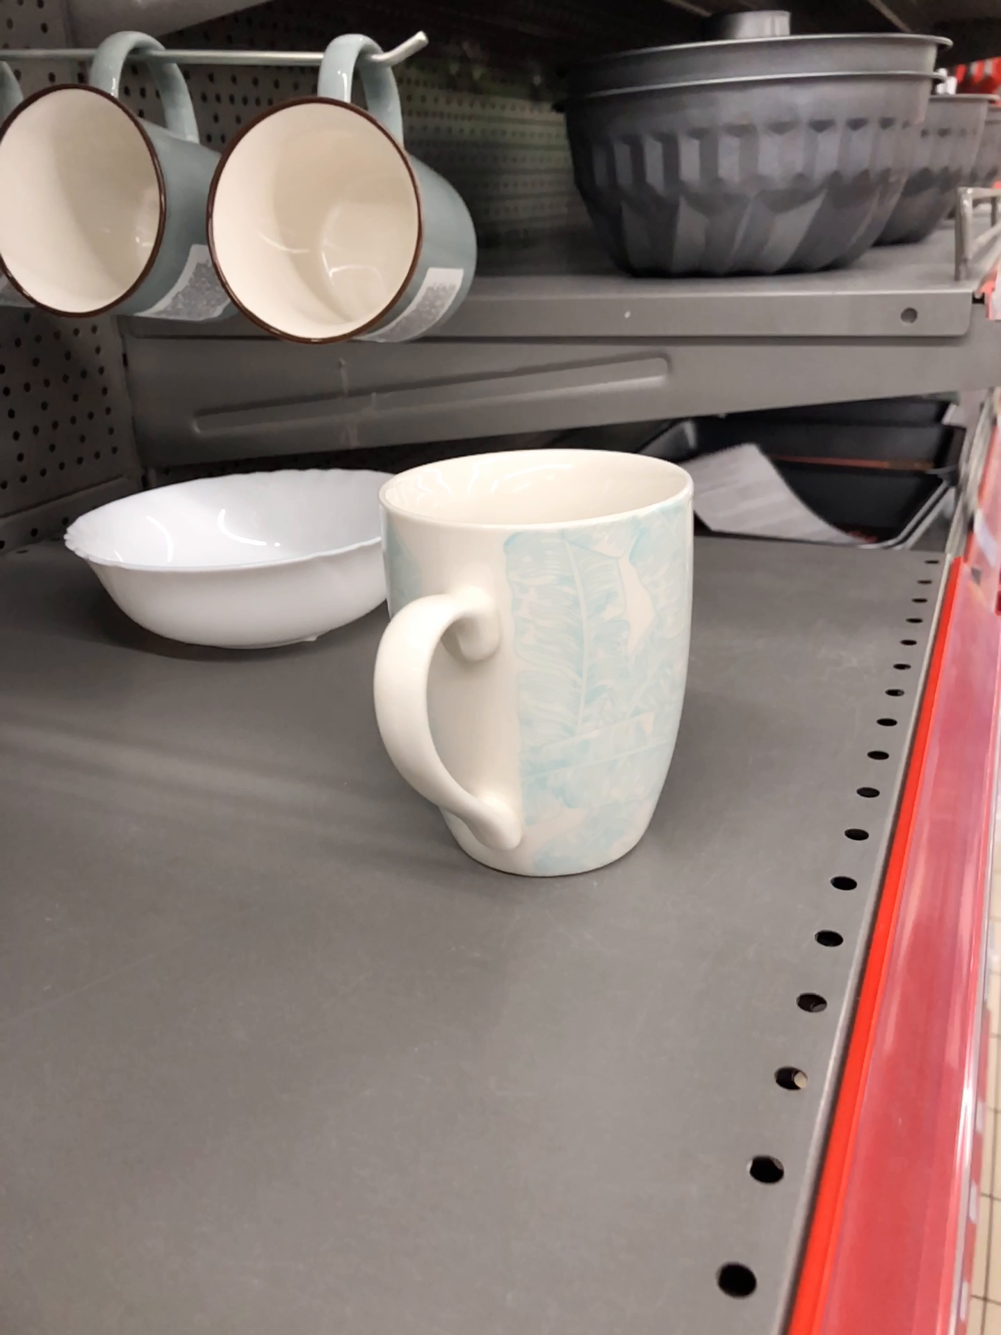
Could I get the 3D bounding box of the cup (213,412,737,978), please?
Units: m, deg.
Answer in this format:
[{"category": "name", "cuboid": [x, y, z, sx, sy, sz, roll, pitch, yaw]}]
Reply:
[{"category": "cup", "cuboid": [0.002, -0.005, 0.296, 0.083, 0.098, 0.121, 11, 26, 26]}]
